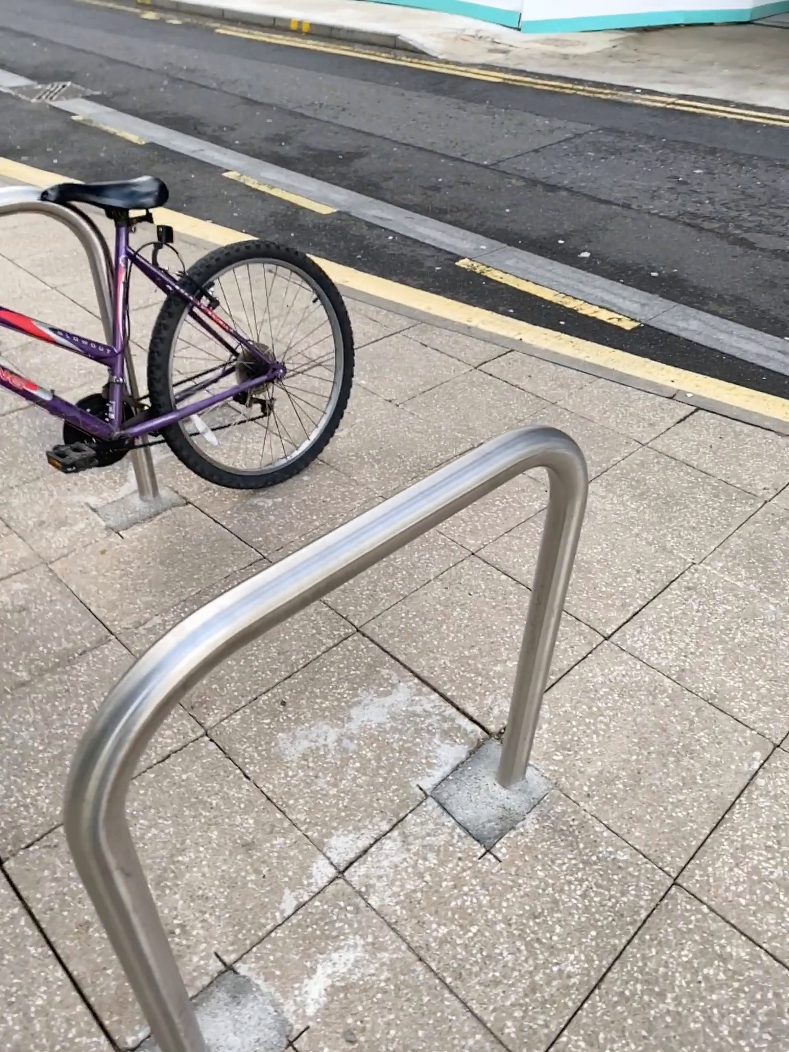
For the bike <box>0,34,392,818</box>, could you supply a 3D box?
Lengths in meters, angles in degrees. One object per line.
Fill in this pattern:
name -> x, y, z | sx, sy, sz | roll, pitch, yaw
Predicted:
bike -> -0.796, -0.397, 1.760 | 0.582, 1.042, 1.739 | 29, 45, 31
